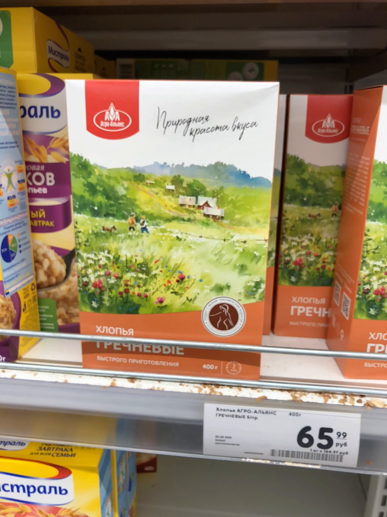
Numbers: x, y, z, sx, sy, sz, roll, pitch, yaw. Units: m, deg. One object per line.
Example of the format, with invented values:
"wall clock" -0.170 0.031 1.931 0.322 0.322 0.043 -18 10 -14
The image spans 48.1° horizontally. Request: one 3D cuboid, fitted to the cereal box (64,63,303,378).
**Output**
"cereal box" -0.006 -0.024 0.302 0.140 0.199 0.050 2 16 6
